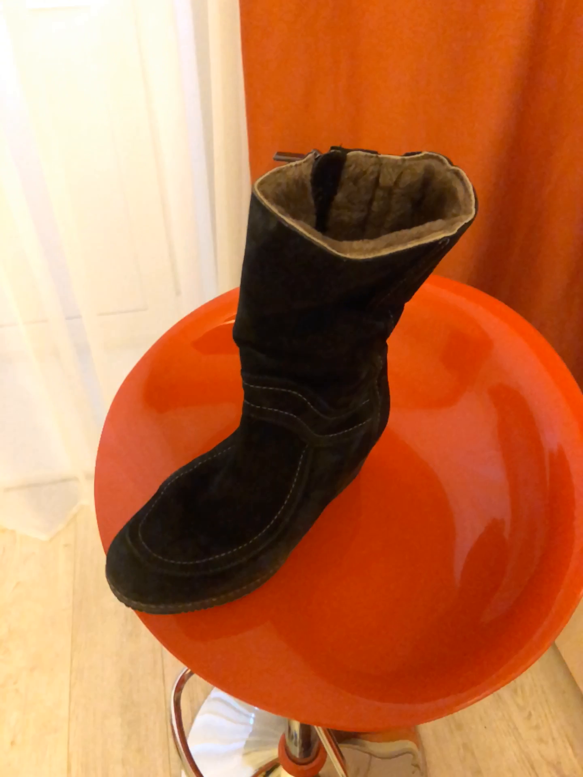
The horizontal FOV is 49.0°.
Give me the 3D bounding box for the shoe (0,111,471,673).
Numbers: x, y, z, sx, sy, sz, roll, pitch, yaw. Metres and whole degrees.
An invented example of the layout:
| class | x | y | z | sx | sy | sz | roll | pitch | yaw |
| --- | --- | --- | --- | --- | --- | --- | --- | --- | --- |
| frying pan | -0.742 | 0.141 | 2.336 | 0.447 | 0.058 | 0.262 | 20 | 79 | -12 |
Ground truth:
| class | x | y | z | sx | sy | sz | roll | pitch | yaw |
| --- | --- | --- | --- | --- | --- | --- | --- | --- | --- |
| shoe | -0.021 | -0.003 | 0.409 | 0.100 | 0.248 | 0.261 | 32 | 51 | 31 |
